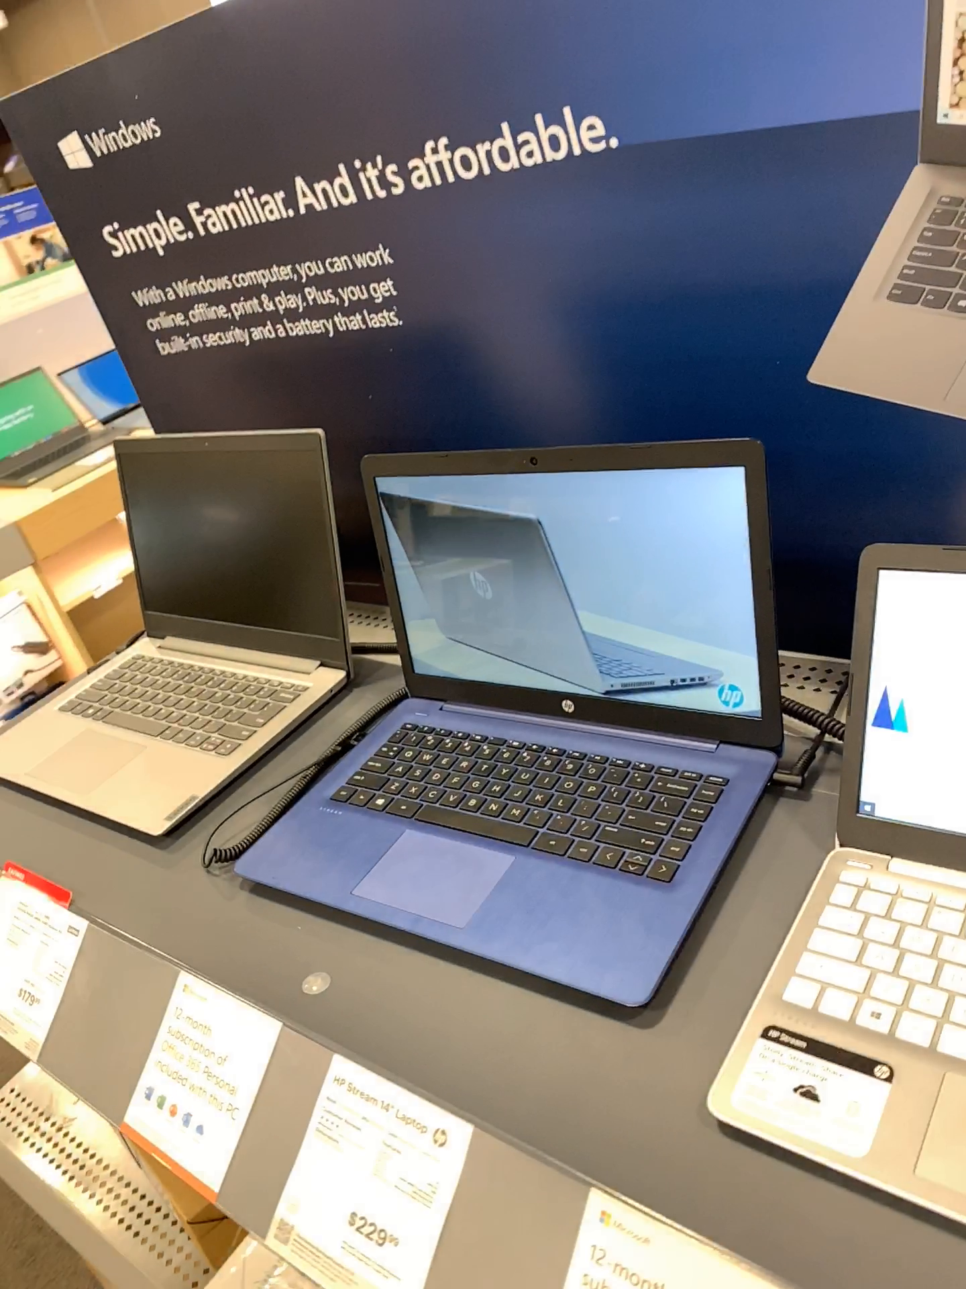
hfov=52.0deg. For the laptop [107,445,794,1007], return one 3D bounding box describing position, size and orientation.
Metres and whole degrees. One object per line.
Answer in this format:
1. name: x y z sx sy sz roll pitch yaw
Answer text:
1. laptop: -0.007 0.020 0.649 0.322 0.207 0.253 6 36 35
